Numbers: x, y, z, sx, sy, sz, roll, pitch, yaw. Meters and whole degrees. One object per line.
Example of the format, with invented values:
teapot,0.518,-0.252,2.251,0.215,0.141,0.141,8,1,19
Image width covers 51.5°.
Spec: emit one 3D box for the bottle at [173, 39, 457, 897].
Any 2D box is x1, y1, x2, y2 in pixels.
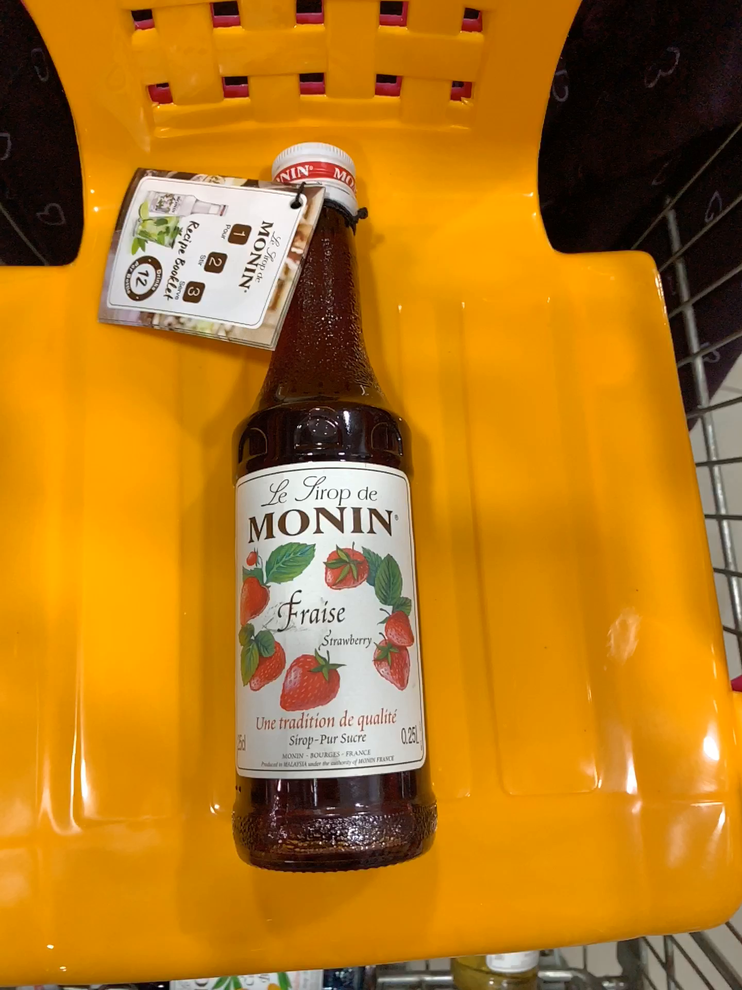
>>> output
bottle,-0.020,-0.018,0.225,0.060,0.060,0.230,-2,73,-5
